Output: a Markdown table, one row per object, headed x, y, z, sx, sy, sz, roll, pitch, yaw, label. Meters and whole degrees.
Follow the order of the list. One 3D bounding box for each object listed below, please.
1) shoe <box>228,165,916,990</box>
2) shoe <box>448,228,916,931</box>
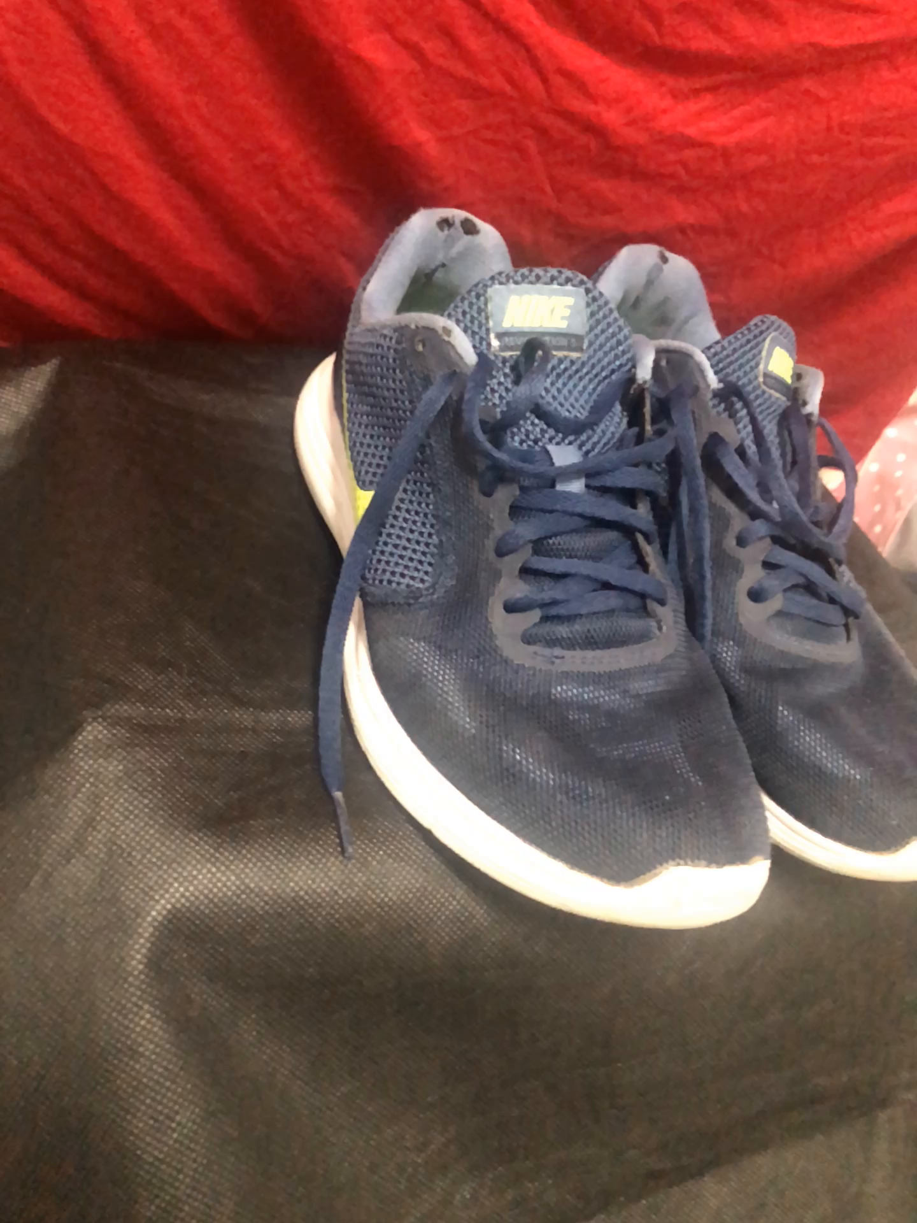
| x | y | z | sx | sy | sz | roll | pitch | yaw | label |
| --- | --- | --- | --- | --- | --- | --- | --- | --- | --- |
| 0.011 | -0.027 | 0.308 | 0.110 | 0.099 | 0.232 | 1 | 44 | -26 | shoe |
| 0.098 | -0.030 | 0.376 | 0.110 | 0.089 | 0.262 | 1 | 44 | -26 | shoe |
